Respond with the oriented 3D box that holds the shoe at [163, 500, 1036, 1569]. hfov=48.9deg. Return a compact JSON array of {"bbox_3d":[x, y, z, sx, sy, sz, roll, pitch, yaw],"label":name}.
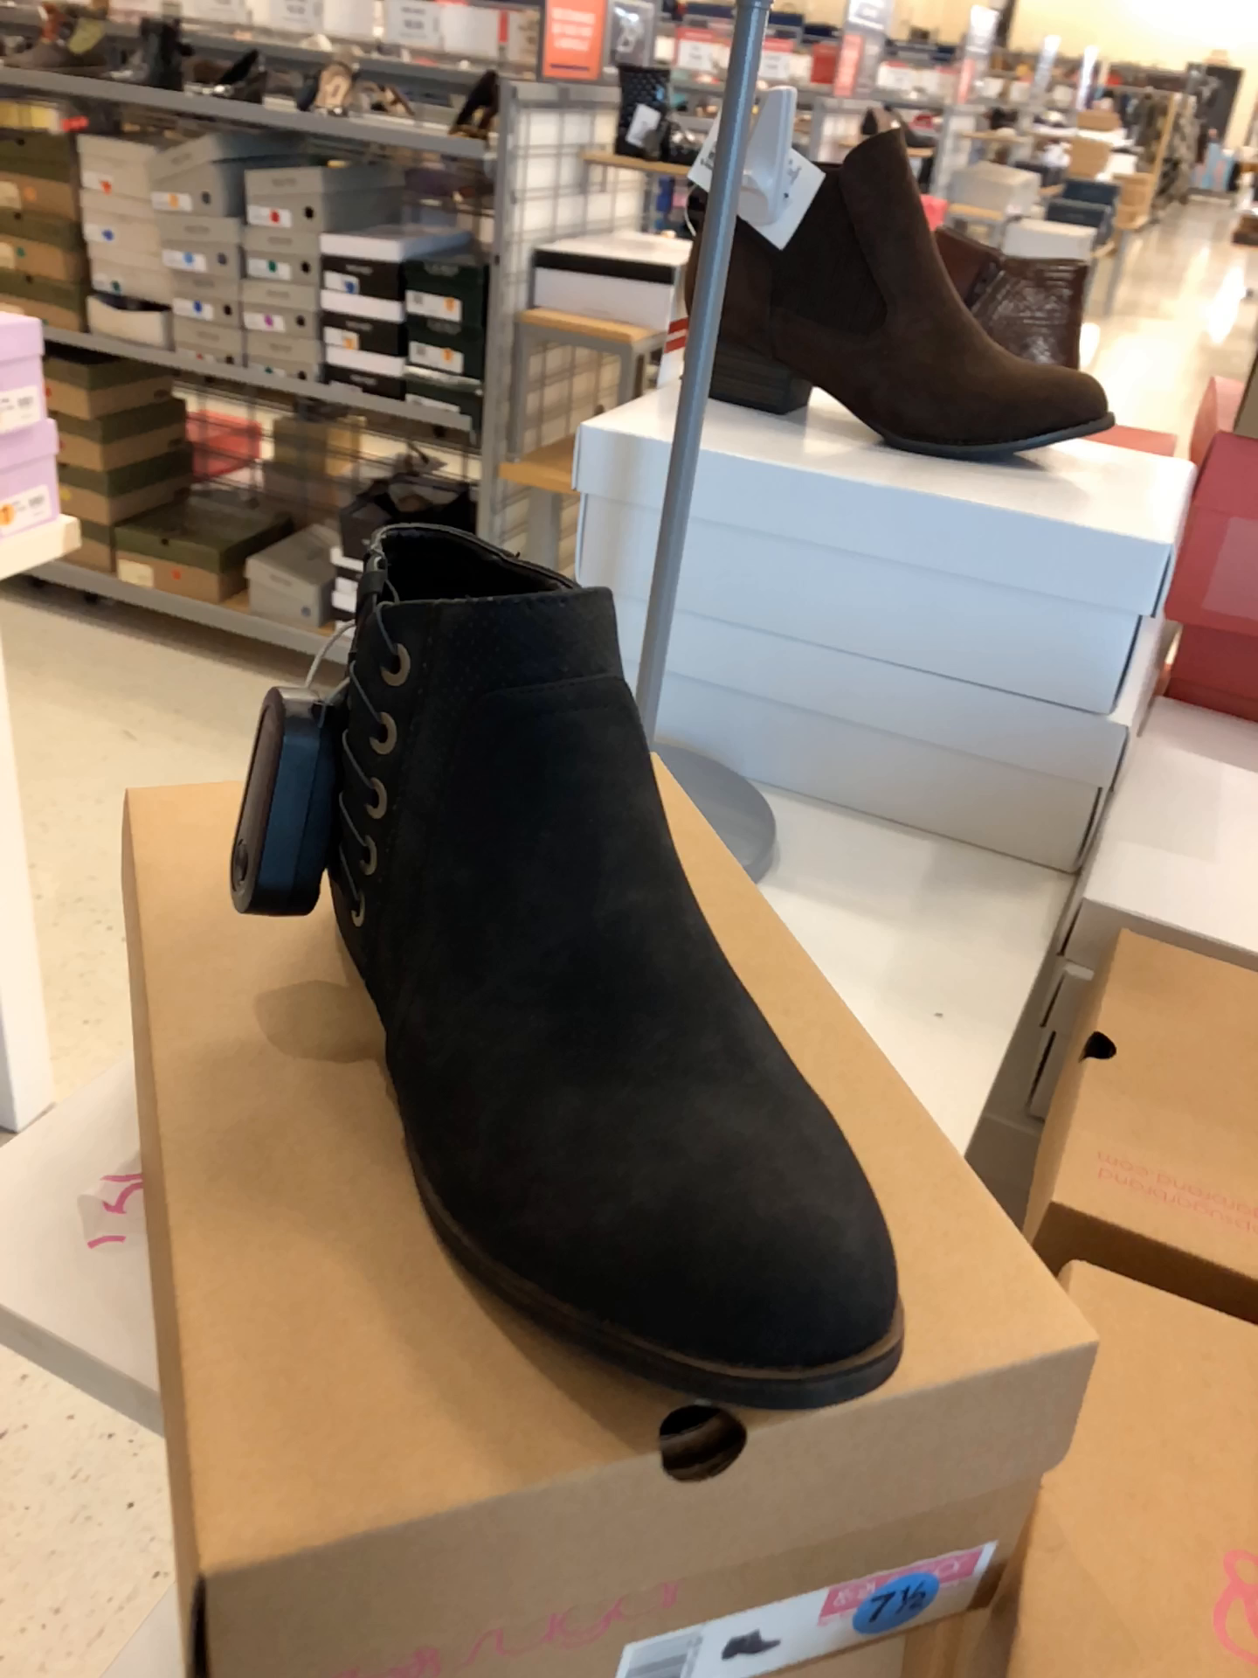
[{"bbox_3d":[-0.037,0.014,0.351,0.100,0.119,0.262,-9,33,-26],"label":"shoe"}]
